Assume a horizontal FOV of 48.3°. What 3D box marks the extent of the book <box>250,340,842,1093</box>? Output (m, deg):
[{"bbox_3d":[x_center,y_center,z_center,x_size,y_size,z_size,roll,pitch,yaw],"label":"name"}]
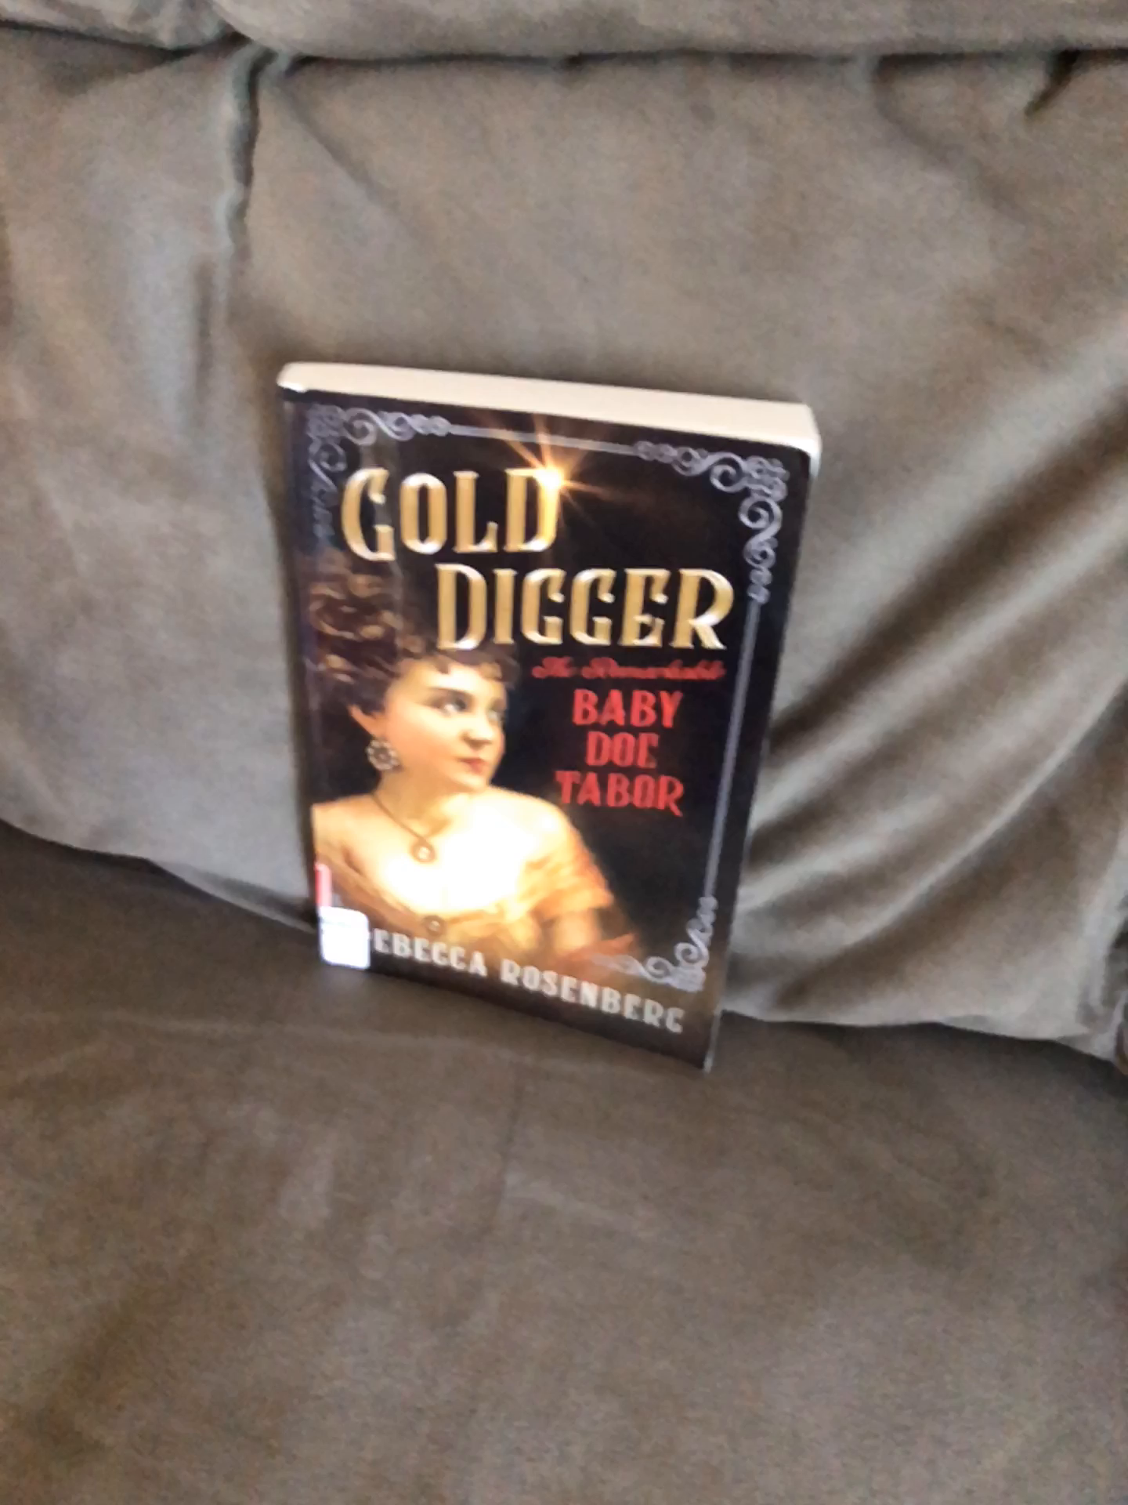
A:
[{"bbox_3d":[-0.013,-0.005,0.370,0.150,0.200,0.030,14,31,15],"label":"book"}]
